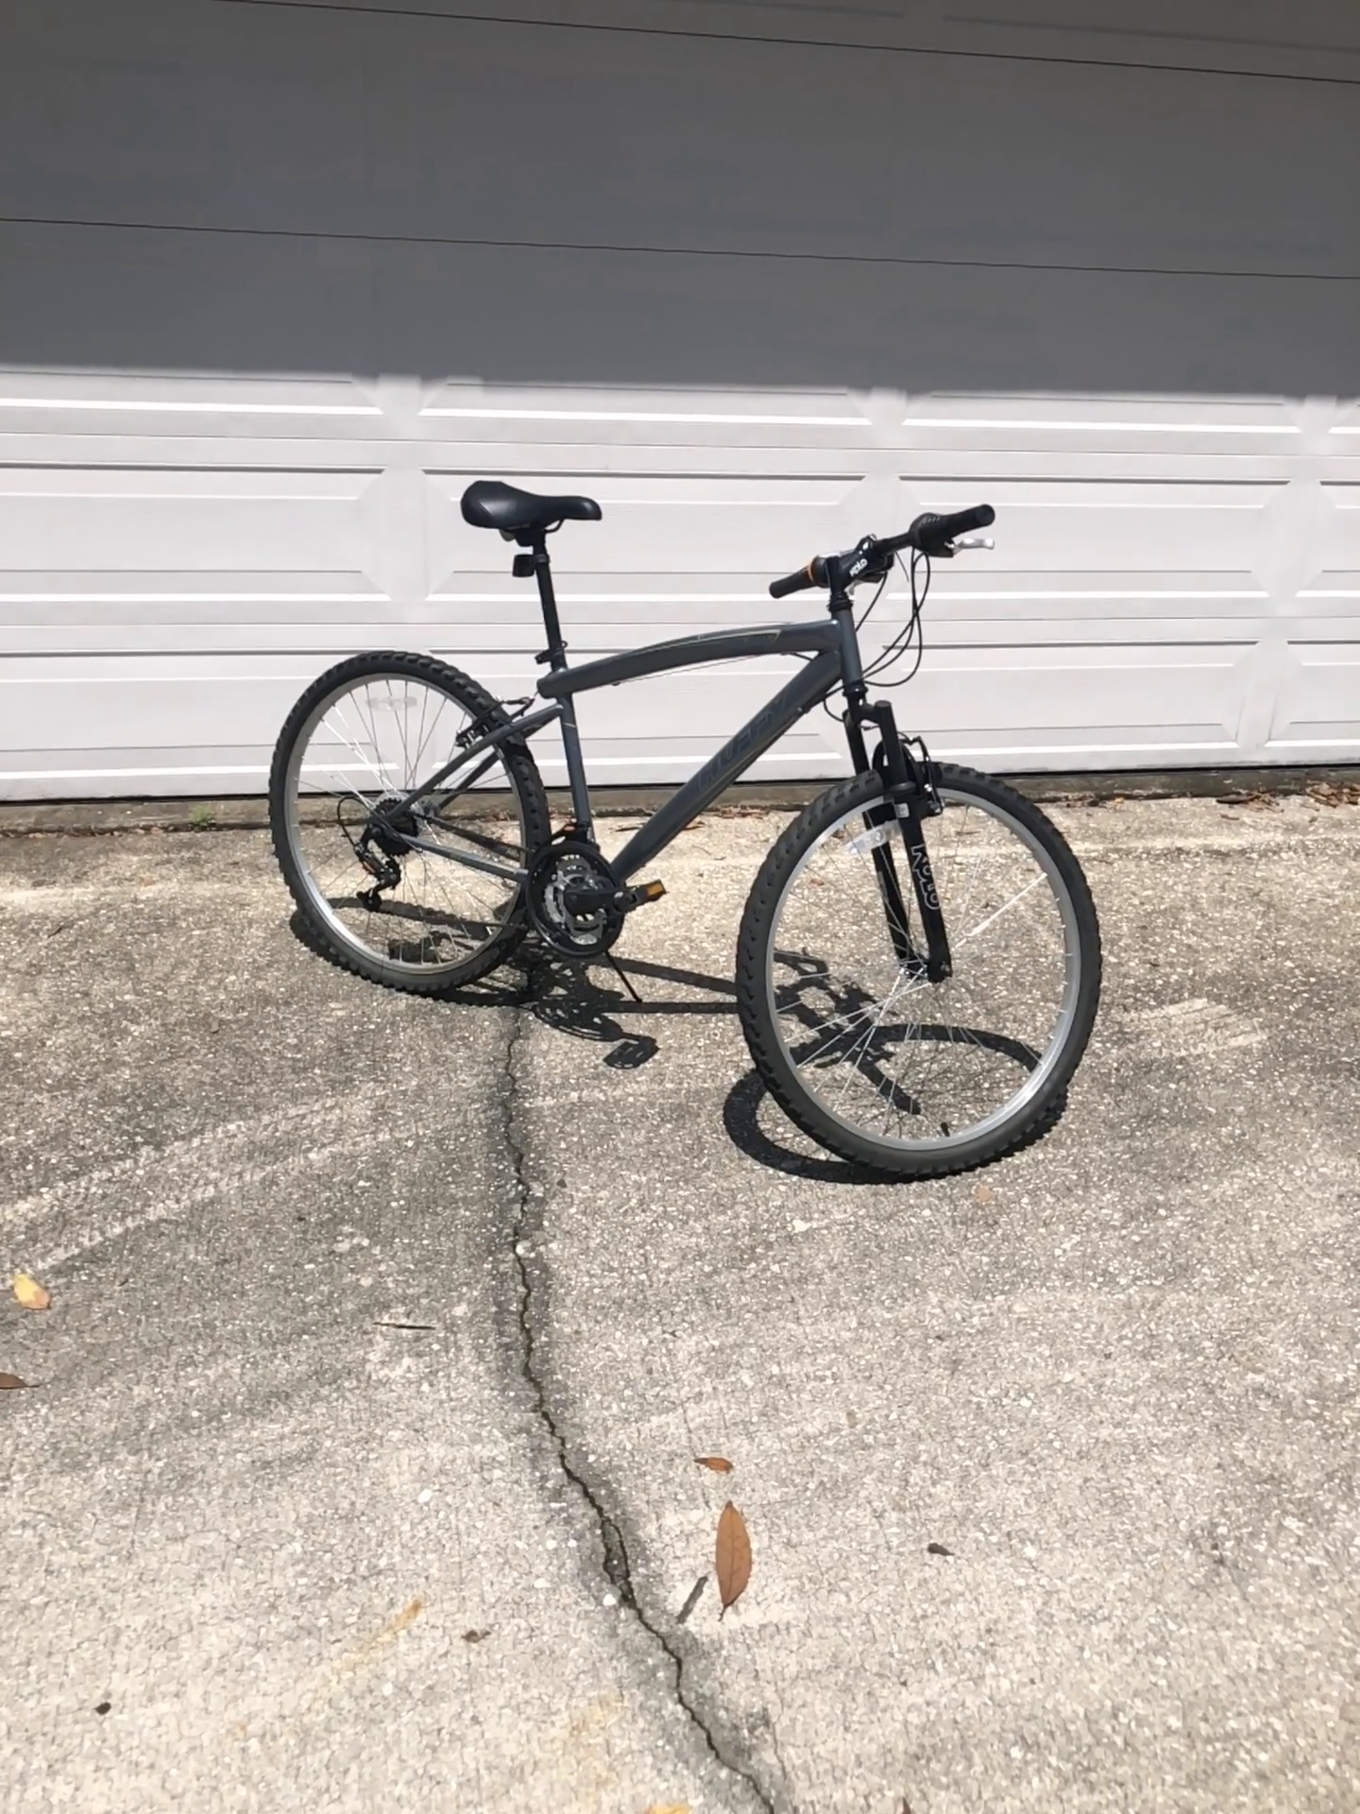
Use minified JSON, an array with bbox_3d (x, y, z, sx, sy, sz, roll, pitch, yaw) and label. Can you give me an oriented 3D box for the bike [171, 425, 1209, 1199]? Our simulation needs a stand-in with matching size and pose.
[{"bbox_3d":[0.026,-0.252,2.749,1.531,0.981,0.682,13,25,17],"label":"bike"}]
